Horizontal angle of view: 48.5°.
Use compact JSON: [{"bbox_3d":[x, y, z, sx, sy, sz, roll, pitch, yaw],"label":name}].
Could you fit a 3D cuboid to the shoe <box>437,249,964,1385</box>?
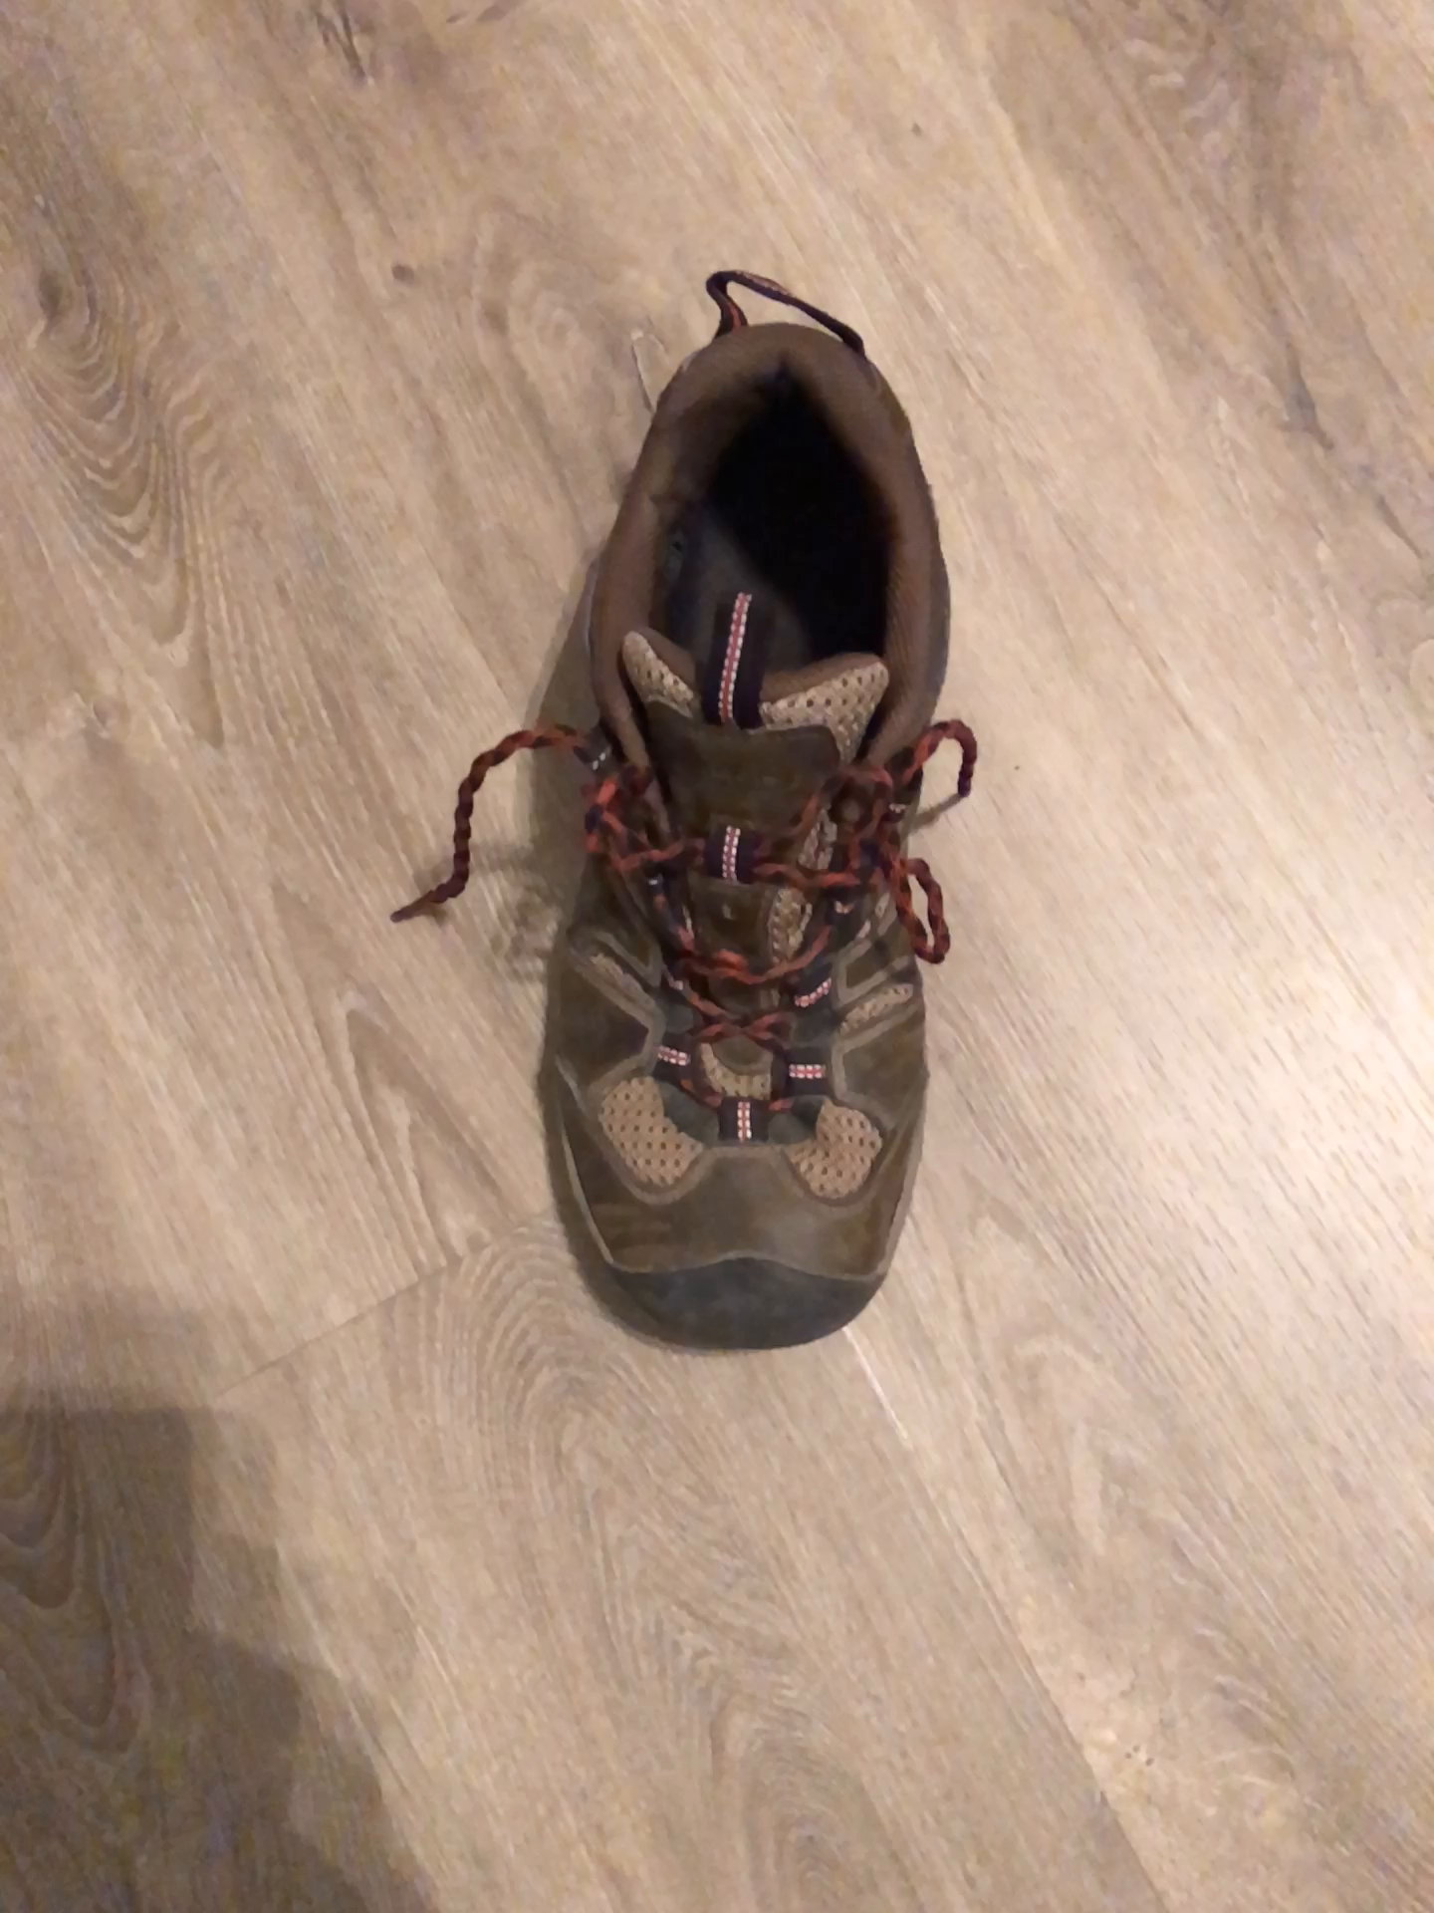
[{"bbox_3d":[0.004,-0.033,0.422,0.110,0.100,0.270,2,80,7],"label":"shoe"}]
